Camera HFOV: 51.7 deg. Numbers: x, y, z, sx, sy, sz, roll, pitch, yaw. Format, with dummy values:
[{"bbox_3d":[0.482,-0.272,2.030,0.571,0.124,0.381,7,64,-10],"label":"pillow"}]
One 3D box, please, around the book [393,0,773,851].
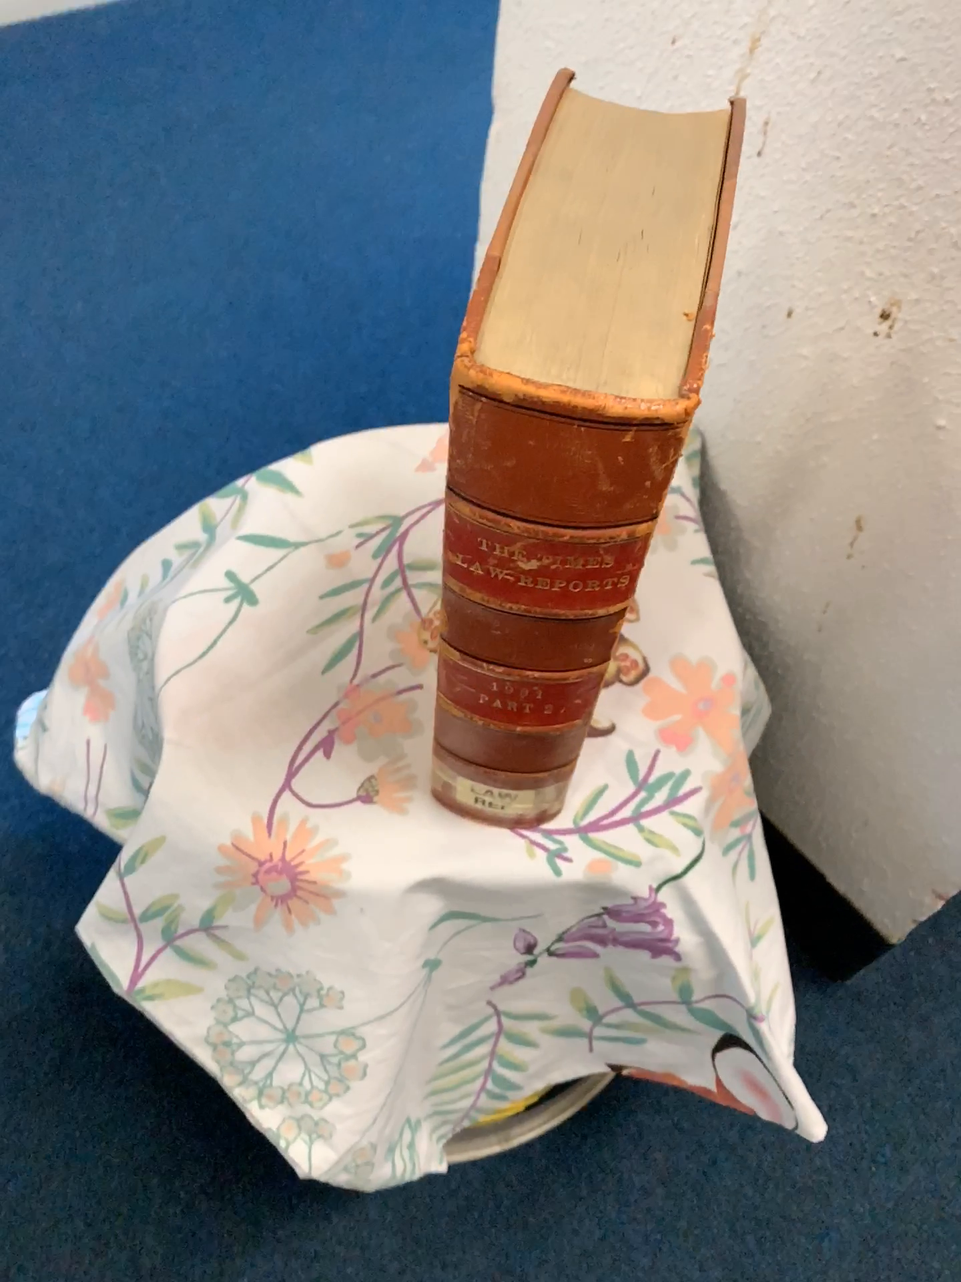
[{"bbox_3d":[0.030,-0.064,0.378,0.070,0.248,0.191,13,55,1],"label":"book"}]
